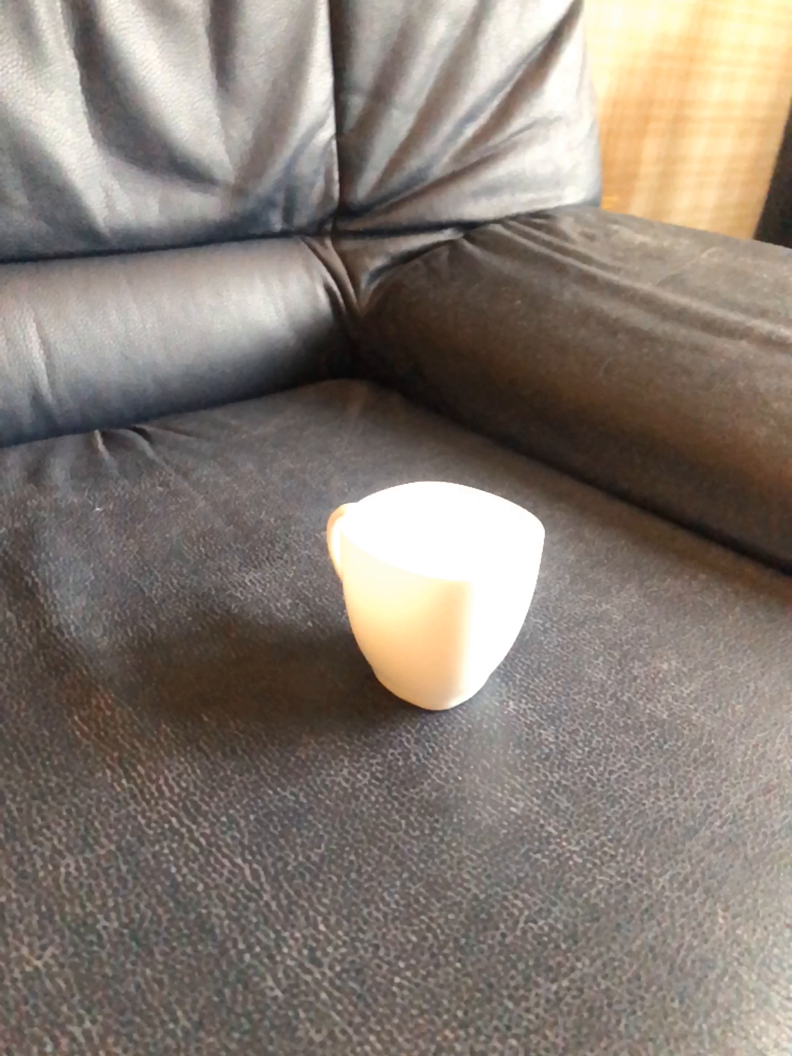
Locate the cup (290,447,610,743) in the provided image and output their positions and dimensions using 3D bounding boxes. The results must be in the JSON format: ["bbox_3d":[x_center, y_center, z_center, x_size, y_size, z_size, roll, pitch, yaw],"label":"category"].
[{"bbox_3d":[0.019,0.021,0.367,0.080,0.063,0.101,-20,38,-38],"label":"cup"}]
